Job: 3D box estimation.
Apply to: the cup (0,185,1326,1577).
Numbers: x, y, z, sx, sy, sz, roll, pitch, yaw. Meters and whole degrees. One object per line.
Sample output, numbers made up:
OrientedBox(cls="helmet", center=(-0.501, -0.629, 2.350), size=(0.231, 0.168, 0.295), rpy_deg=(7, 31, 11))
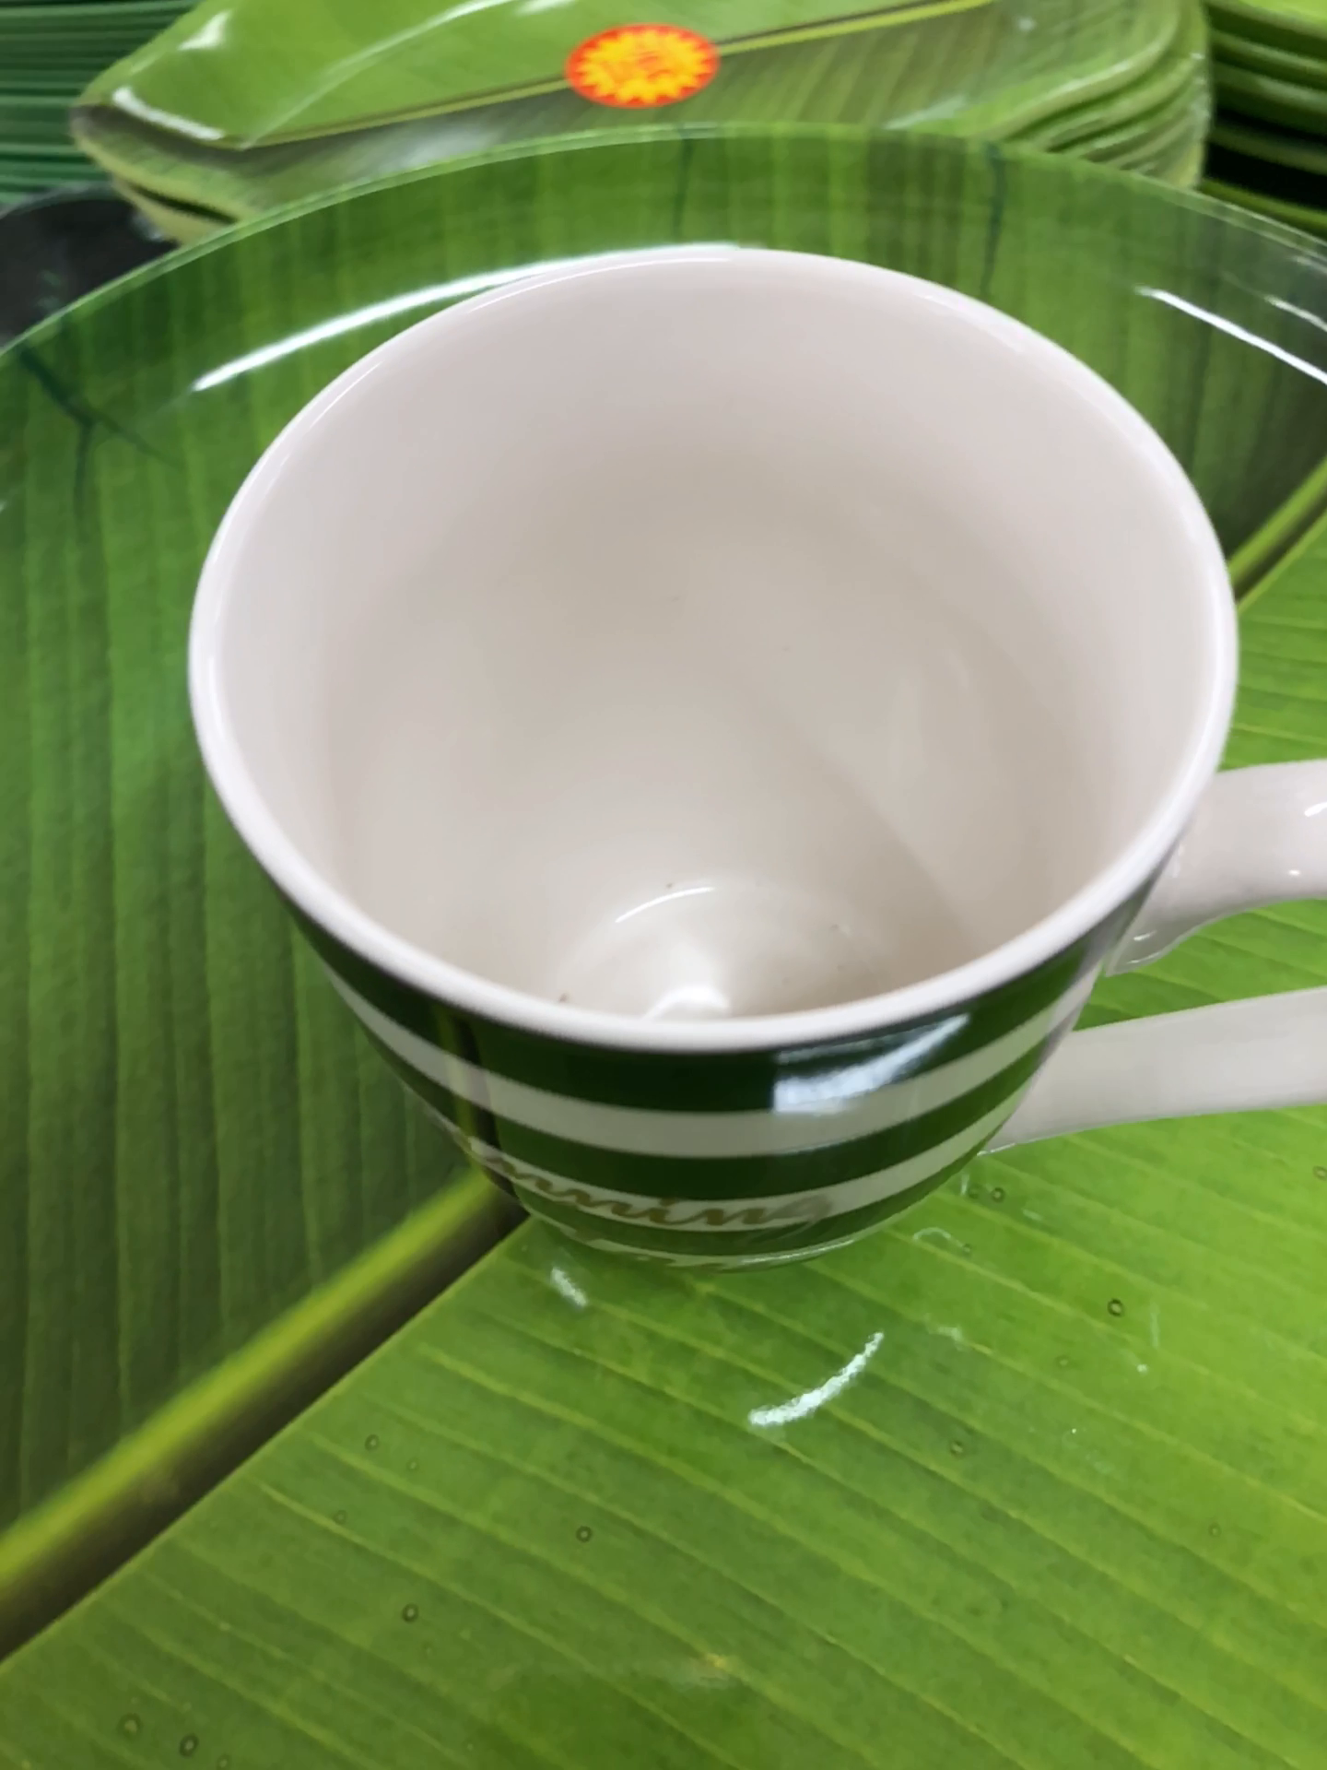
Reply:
OrientedBox(cls="cup", center=(0.024, 0.001, 0.142), size=(0.130, 0.080, 0.080), rpy_deg=(10, 58, 9))
